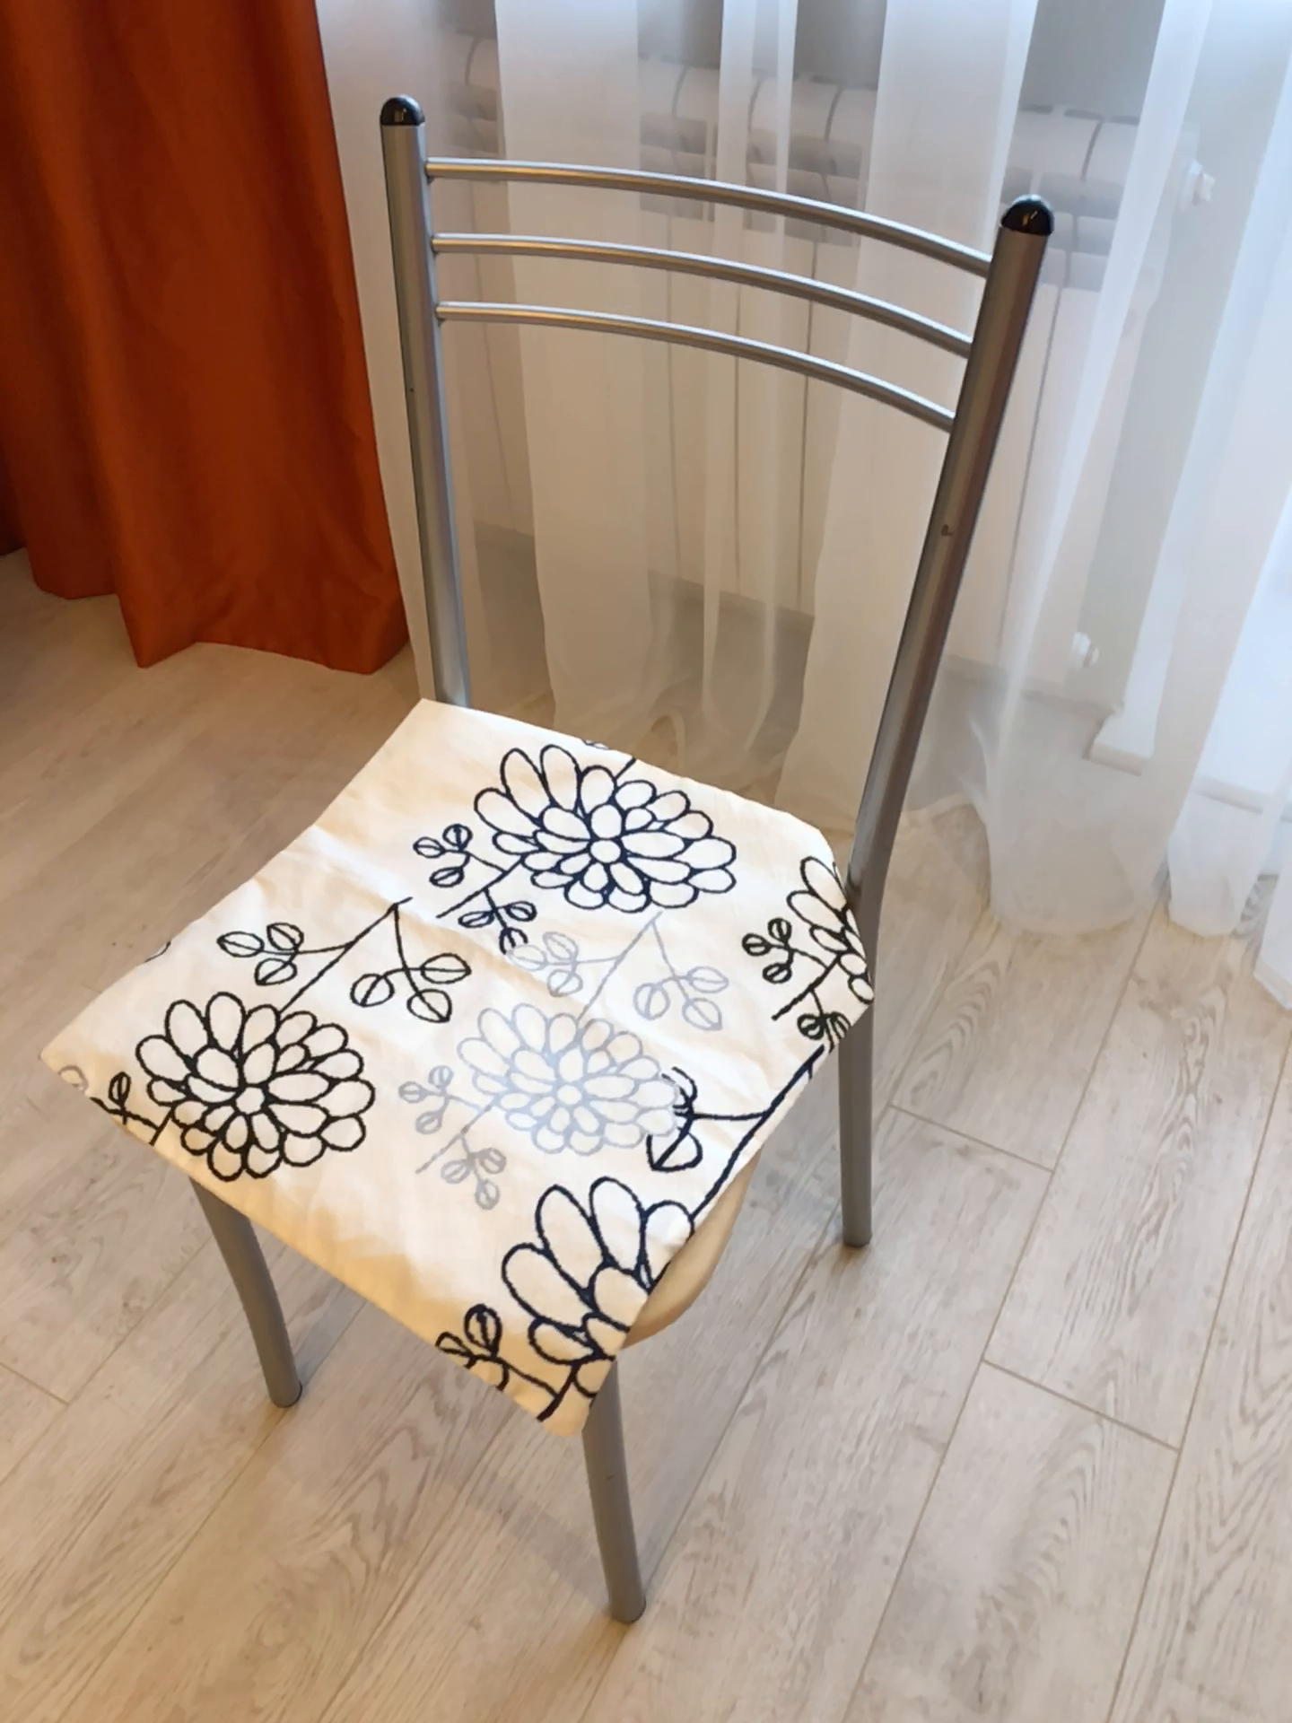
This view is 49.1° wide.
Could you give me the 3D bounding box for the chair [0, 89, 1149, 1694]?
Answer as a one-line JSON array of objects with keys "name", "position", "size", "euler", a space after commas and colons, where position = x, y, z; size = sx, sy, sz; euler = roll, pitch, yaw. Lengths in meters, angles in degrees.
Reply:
[{"name": "chair", "position": [-0.048, 0.051, 0.861], "size": [0.420, 0.794, 0.443], "euler": [20, 48, 21]}]
